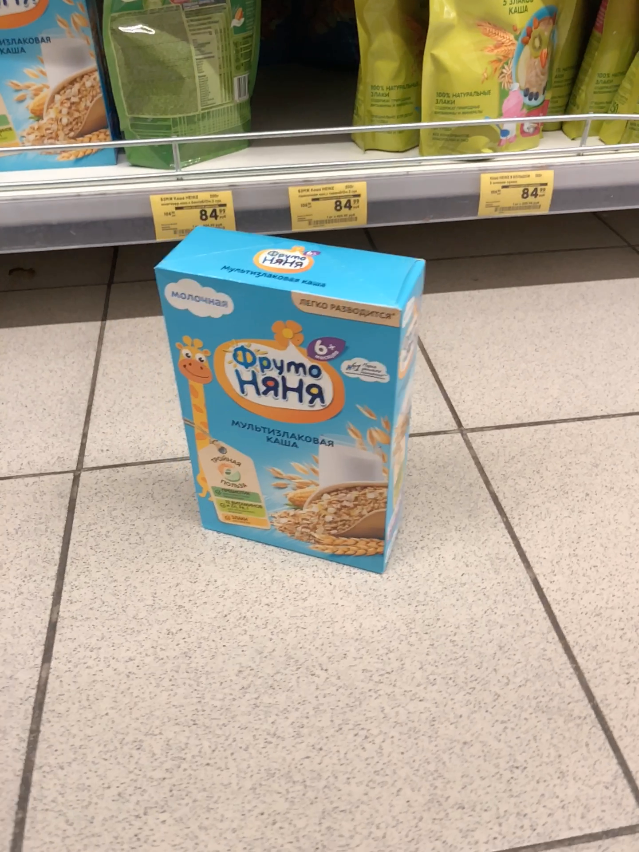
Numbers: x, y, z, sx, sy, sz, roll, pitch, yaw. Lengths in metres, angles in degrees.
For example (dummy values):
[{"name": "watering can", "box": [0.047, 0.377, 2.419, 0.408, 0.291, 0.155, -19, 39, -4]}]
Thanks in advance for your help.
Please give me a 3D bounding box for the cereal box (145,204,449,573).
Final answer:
[{"name": "cereal box", "box": [-0.009, -0.015, 0.417, 0.140, 0.199, 0.060, 12, 43, 15]}]
